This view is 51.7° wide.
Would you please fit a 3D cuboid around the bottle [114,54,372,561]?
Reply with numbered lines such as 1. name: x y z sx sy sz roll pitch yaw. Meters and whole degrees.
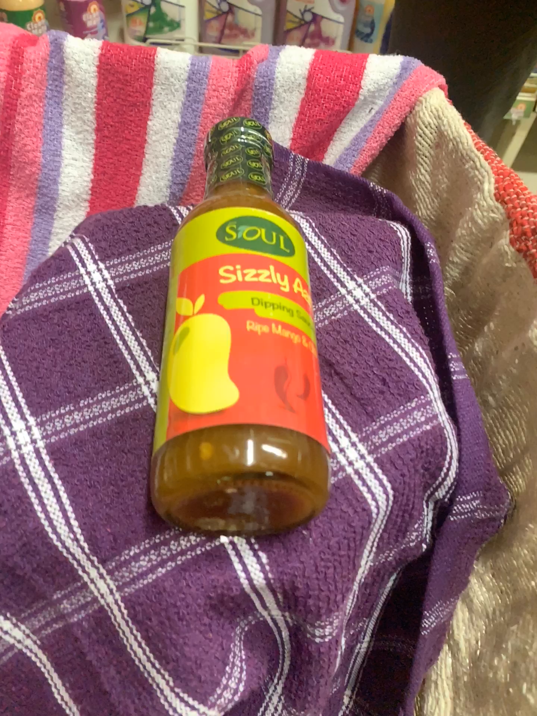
1. bottle: -0.011 -0.034 0.211 0.060 0.060 0.201 1 54 -4
